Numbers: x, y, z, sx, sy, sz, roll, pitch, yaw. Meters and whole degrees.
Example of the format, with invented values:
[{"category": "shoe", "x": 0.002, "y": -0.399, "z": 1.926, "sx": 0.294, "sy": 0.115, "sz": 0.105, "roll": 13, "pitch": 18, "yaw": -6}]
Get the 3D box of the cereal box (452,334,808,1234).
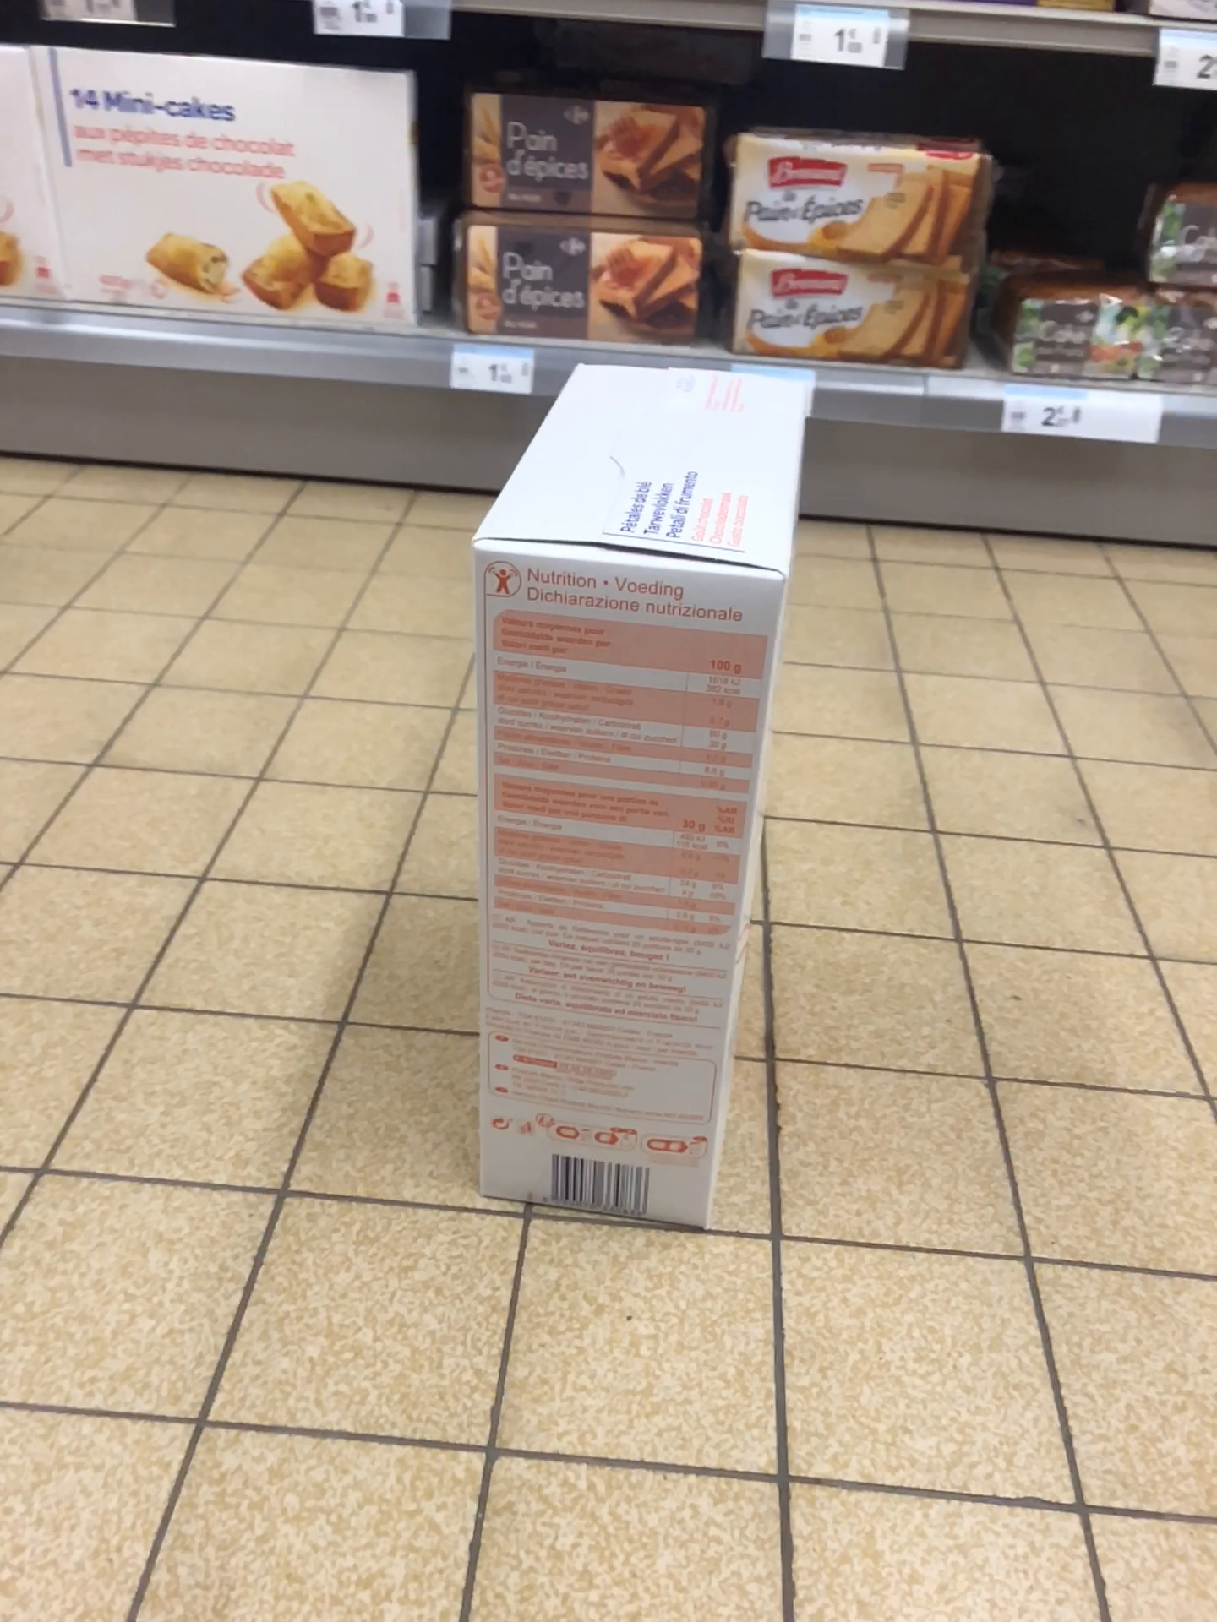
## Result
[{"category": "cereal box", "x": 0.008, "y": -0.014, "z": 0.535, "sx": 0.100, "sy": 0.288, "sz": 0.201, "roll": 6, "pitch": 33, "yaw": 3}]
